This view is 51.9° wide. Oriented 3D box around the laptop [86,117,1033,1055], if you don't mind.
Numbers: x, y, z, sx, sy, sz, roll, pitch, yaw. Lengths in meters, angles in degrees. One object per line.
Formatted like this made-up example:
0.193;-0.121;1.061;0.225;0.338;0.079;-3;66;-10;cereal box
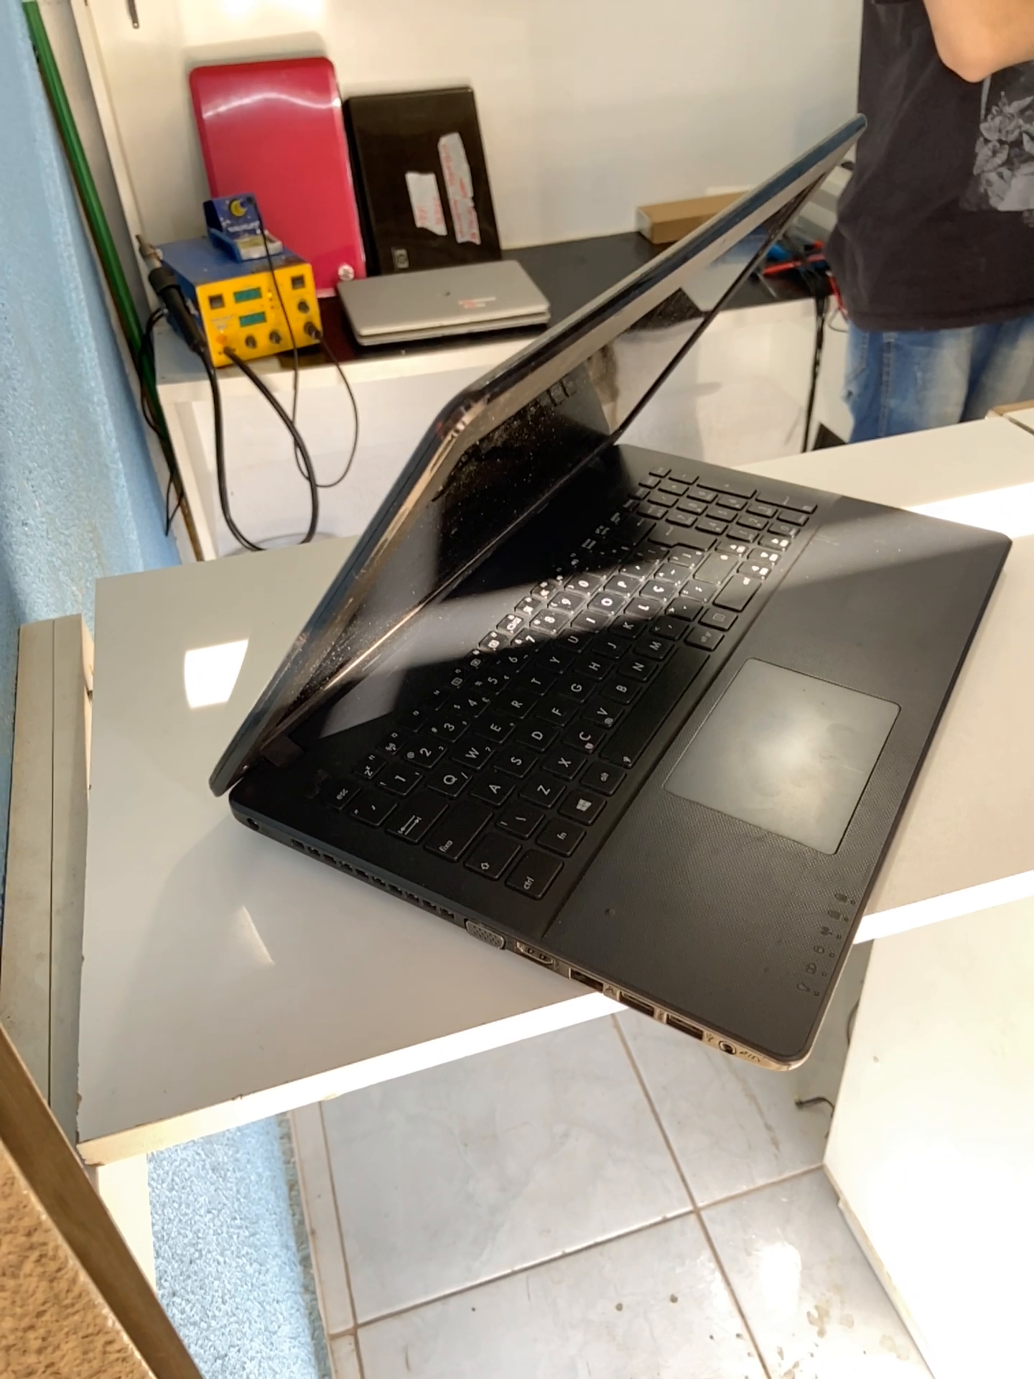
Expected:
0.072;-0.096;0.462;0.239;0.190;0.375;19;43;25;laptop
